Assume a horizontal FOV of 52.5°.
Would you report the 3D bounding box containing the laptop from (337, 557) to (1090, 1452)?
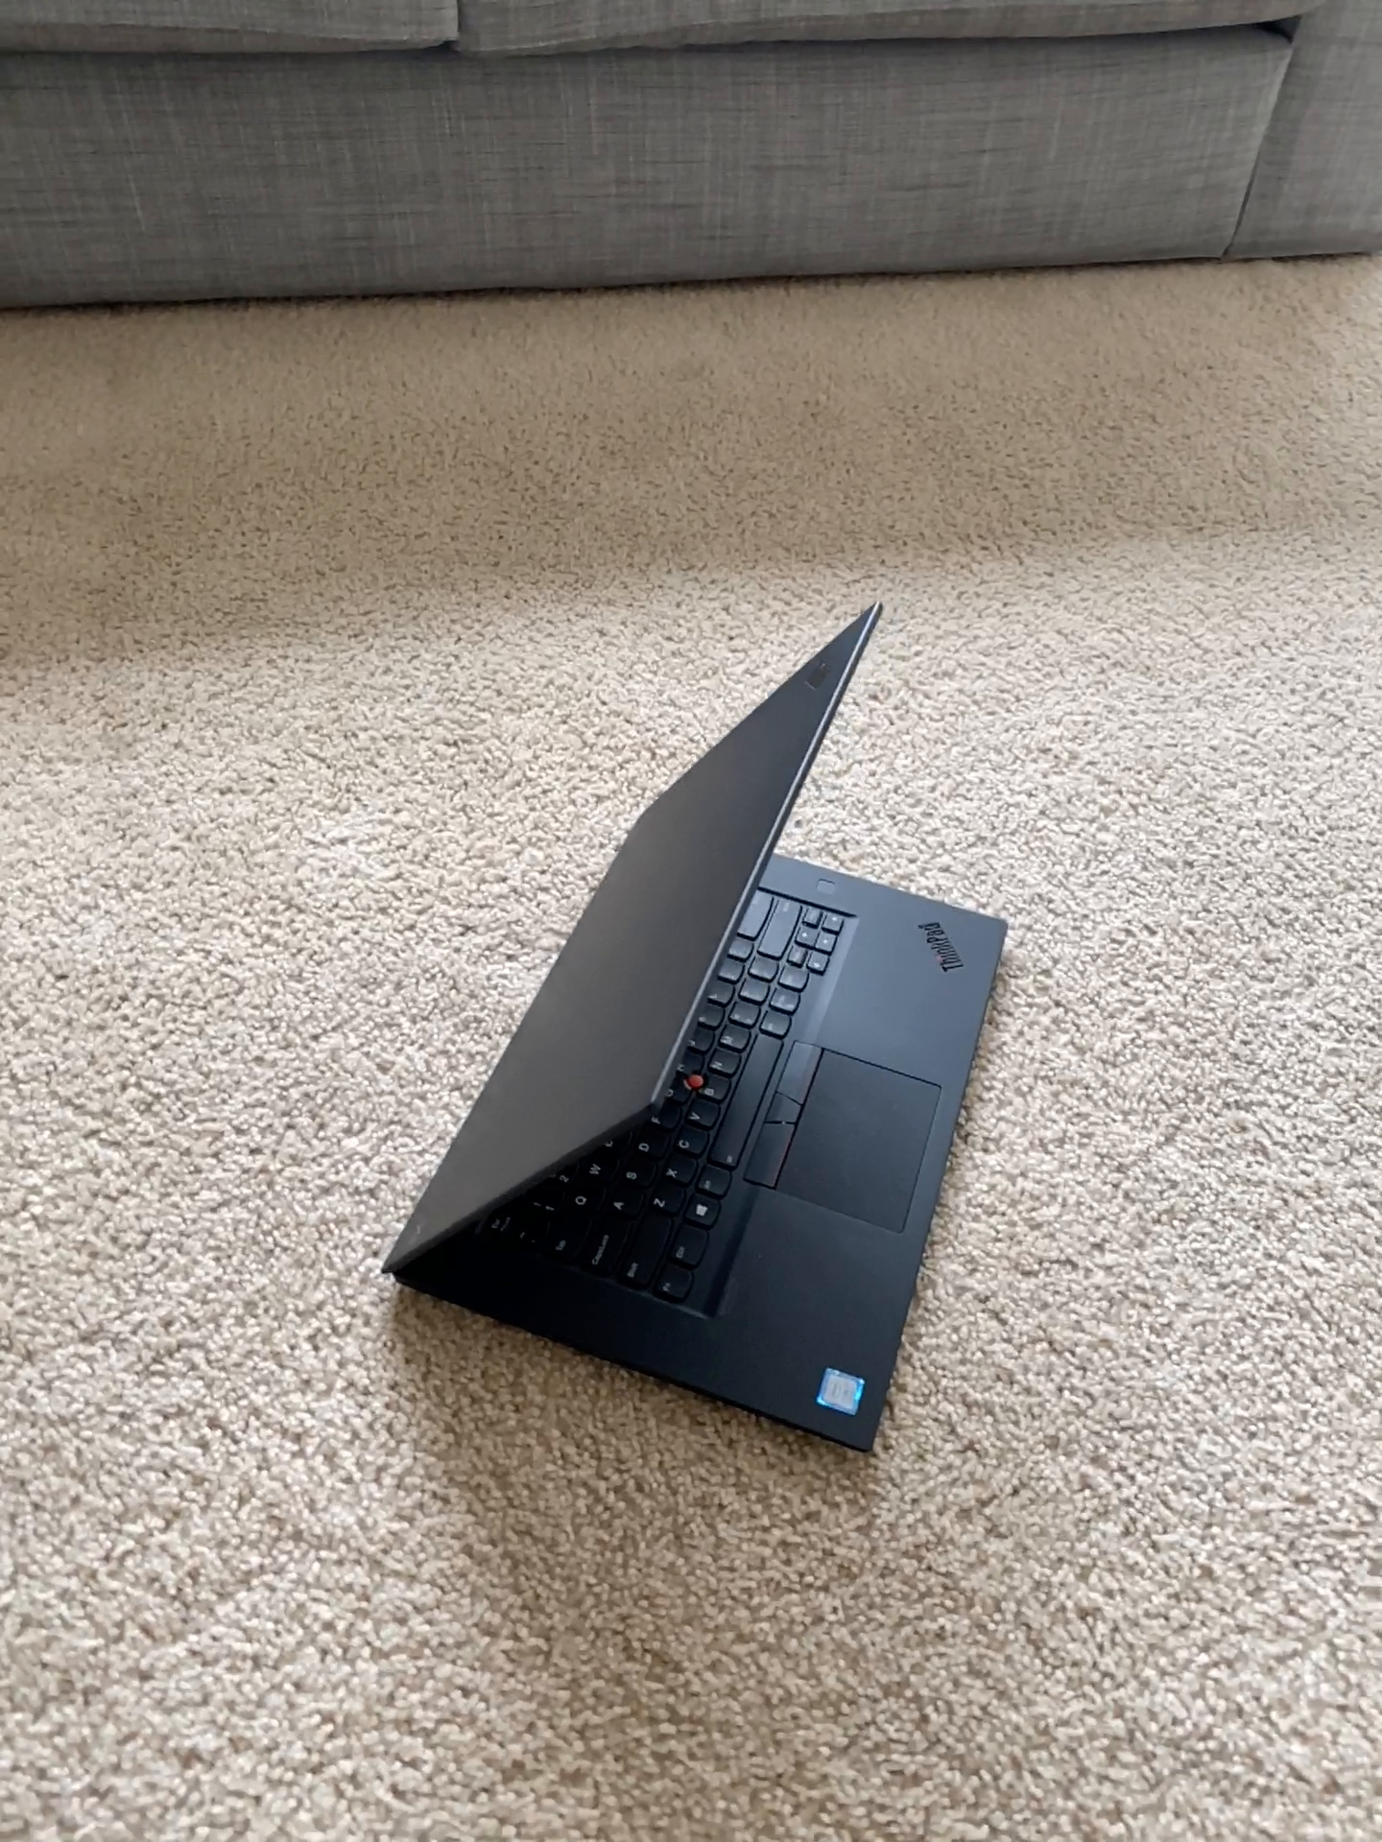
[{"bbox_3d":[0.030,0.021,0.713,0.243,0.198,0.356,17,47,10],"label":"laptop"}]
